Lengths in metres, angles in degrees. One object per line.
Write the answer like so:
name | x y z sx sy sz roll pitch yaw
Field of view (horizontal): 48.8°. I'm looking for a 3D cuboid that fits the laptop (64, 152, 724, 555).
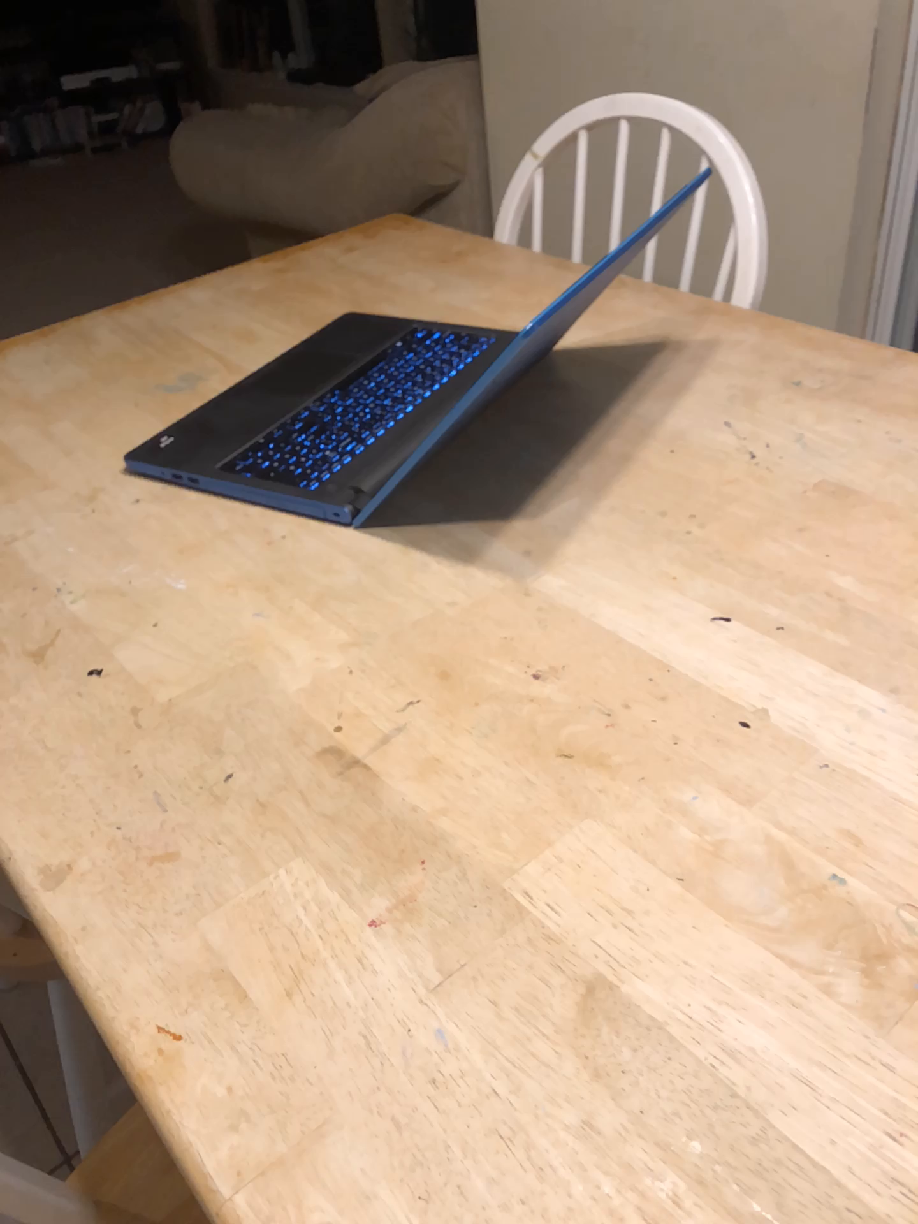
laptop | -0.035 -0.261 0.893 0.419 0.174 0.368 15 41 26
